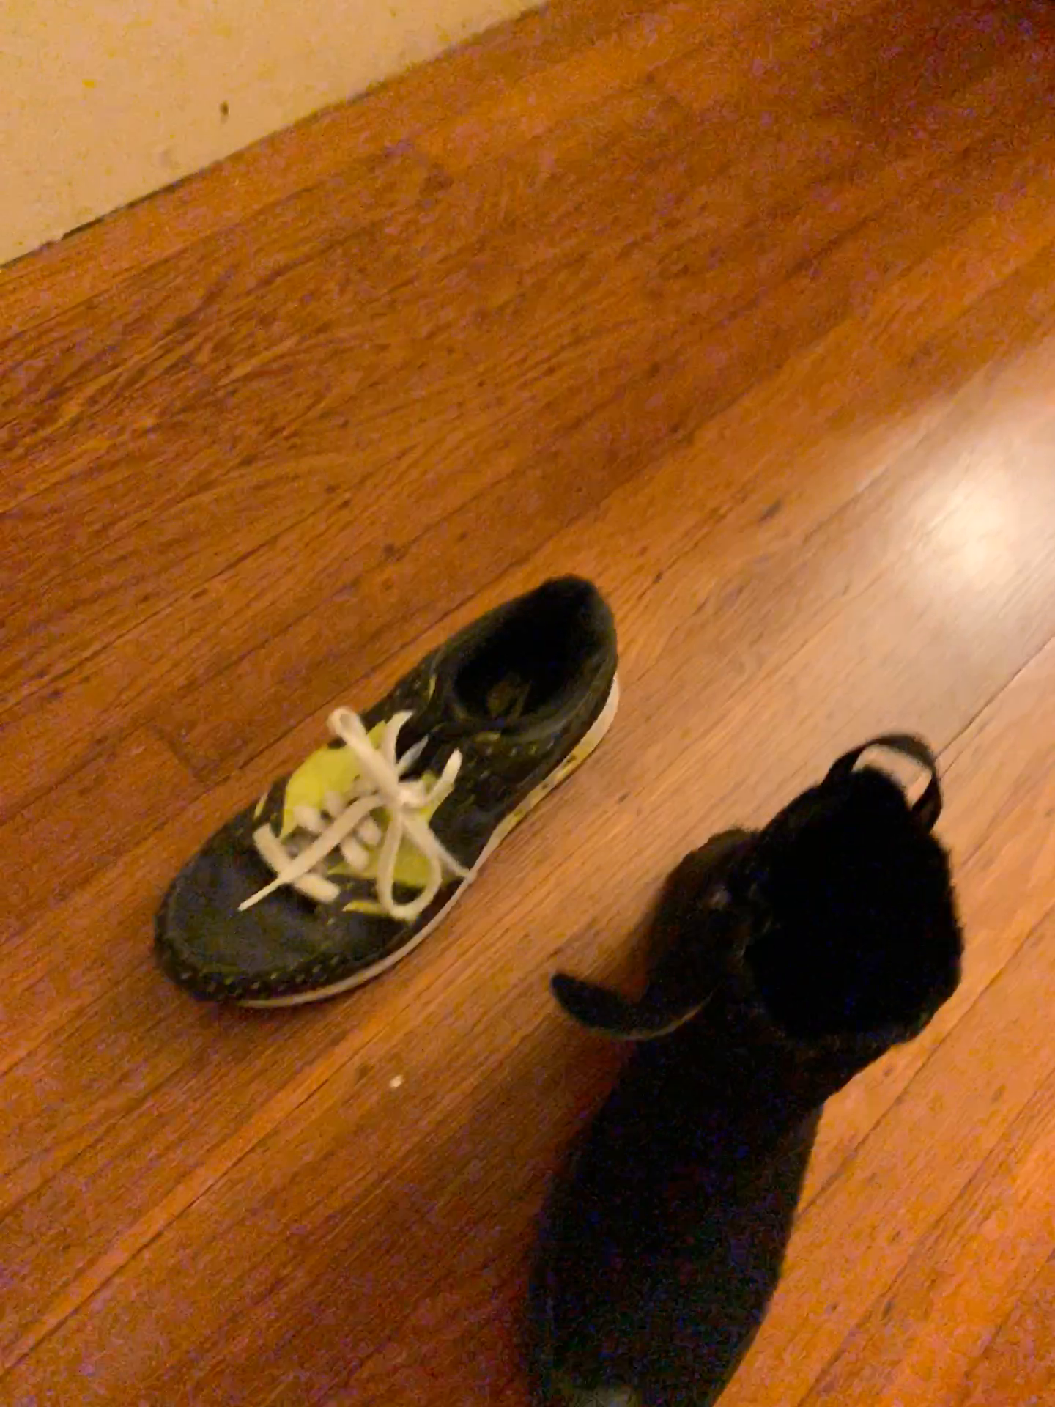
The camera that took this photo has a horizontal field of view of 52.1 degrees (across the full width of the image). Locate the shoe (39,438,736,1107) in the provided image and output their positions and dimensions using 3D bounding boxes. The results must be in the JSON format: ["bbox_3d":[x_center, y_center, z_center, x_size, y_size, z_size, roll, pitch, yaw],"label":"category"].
[{"bbox_3d":[-0.051,0.025,0.496,0.120,0.100,0.291,41,66,10],"label":"shoe"}]

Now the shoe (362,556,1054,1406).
[{"bbox_3d":[0.073,0.152,0.445,0.160,0.240,0.311,23,65,1],"label":"shoe"}]
